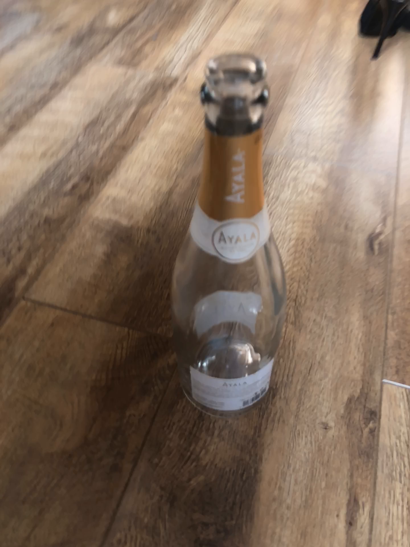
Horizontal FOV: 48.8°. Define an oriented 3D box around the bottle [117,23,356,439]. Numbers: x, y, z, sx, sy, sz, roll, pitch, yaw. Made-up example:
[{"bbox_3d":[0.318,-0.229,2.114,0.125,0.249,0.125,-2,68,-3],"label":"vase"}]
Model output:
[{"bbox_3d":[0.010,0.008,0.311,0.090,0.298,0.091,-1,49,1],"label":"bottle"}]
